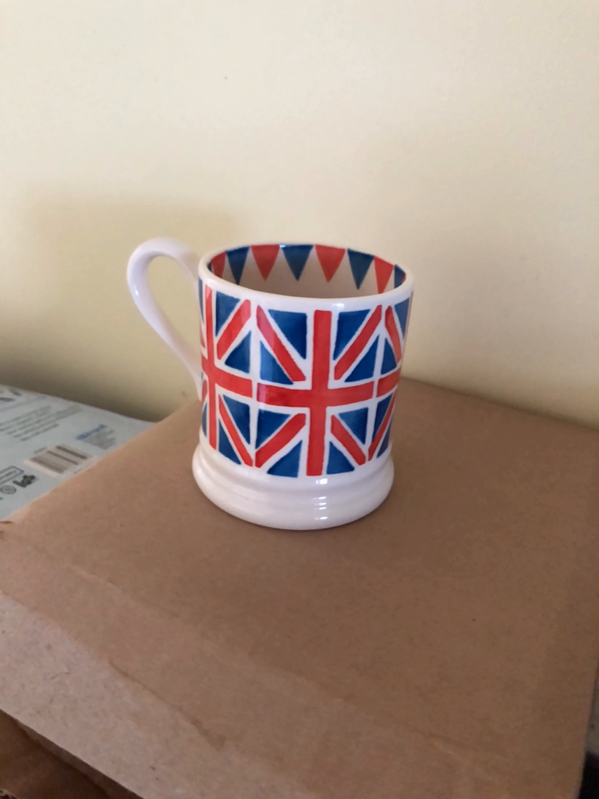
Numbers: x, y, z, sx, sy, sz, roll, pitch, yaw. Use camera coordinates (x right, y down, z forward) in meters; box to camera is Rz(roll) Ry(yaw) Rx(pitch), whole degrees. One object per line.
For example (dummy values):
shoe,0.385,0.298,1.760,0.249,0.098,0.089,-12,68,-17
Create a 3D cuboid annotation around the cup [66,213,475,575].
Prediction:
cup,-0.009,-0.015,0.288,0.130,0.100,0.101,14,28,26
